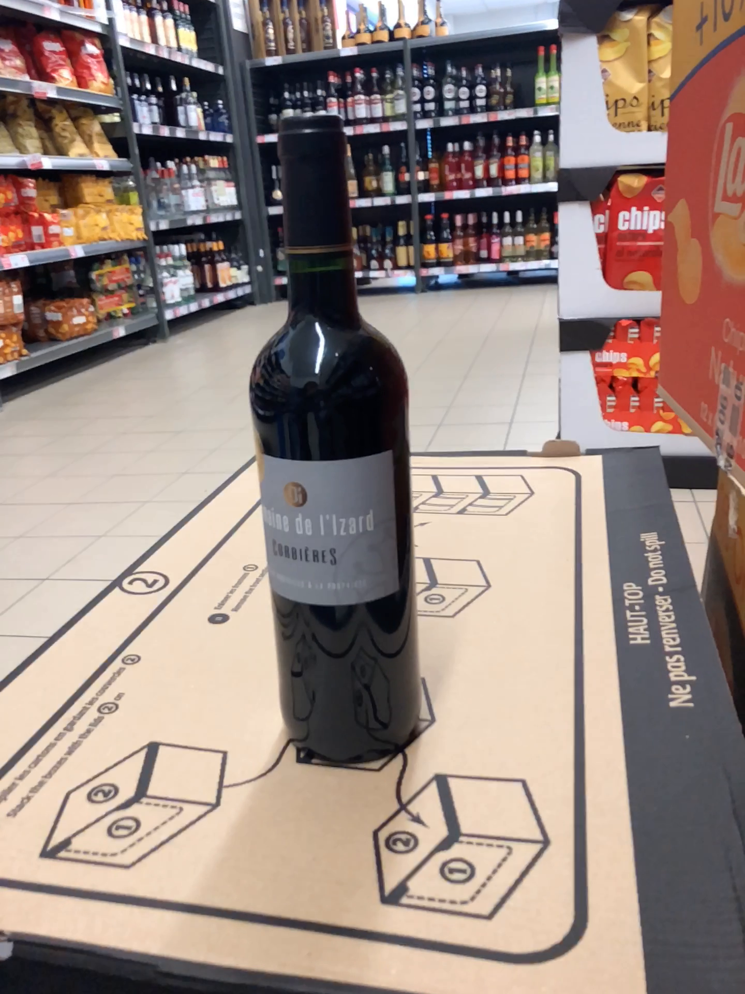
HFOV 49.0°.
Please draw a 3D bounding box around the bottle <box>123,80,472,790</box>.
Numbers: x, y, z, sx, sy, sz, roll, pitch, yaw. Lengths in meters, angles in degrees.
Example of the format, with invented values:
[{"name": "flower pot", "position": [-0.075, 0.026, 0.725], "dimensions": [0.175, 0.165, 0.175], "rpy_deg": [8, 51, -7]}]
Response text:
[{"name": "bottle", "position": [-0.021, -0.024, 0.369], "dimensions": [0.090, 0.279, 0.090], "rpy_deg": [-4, 19, 2]}]
